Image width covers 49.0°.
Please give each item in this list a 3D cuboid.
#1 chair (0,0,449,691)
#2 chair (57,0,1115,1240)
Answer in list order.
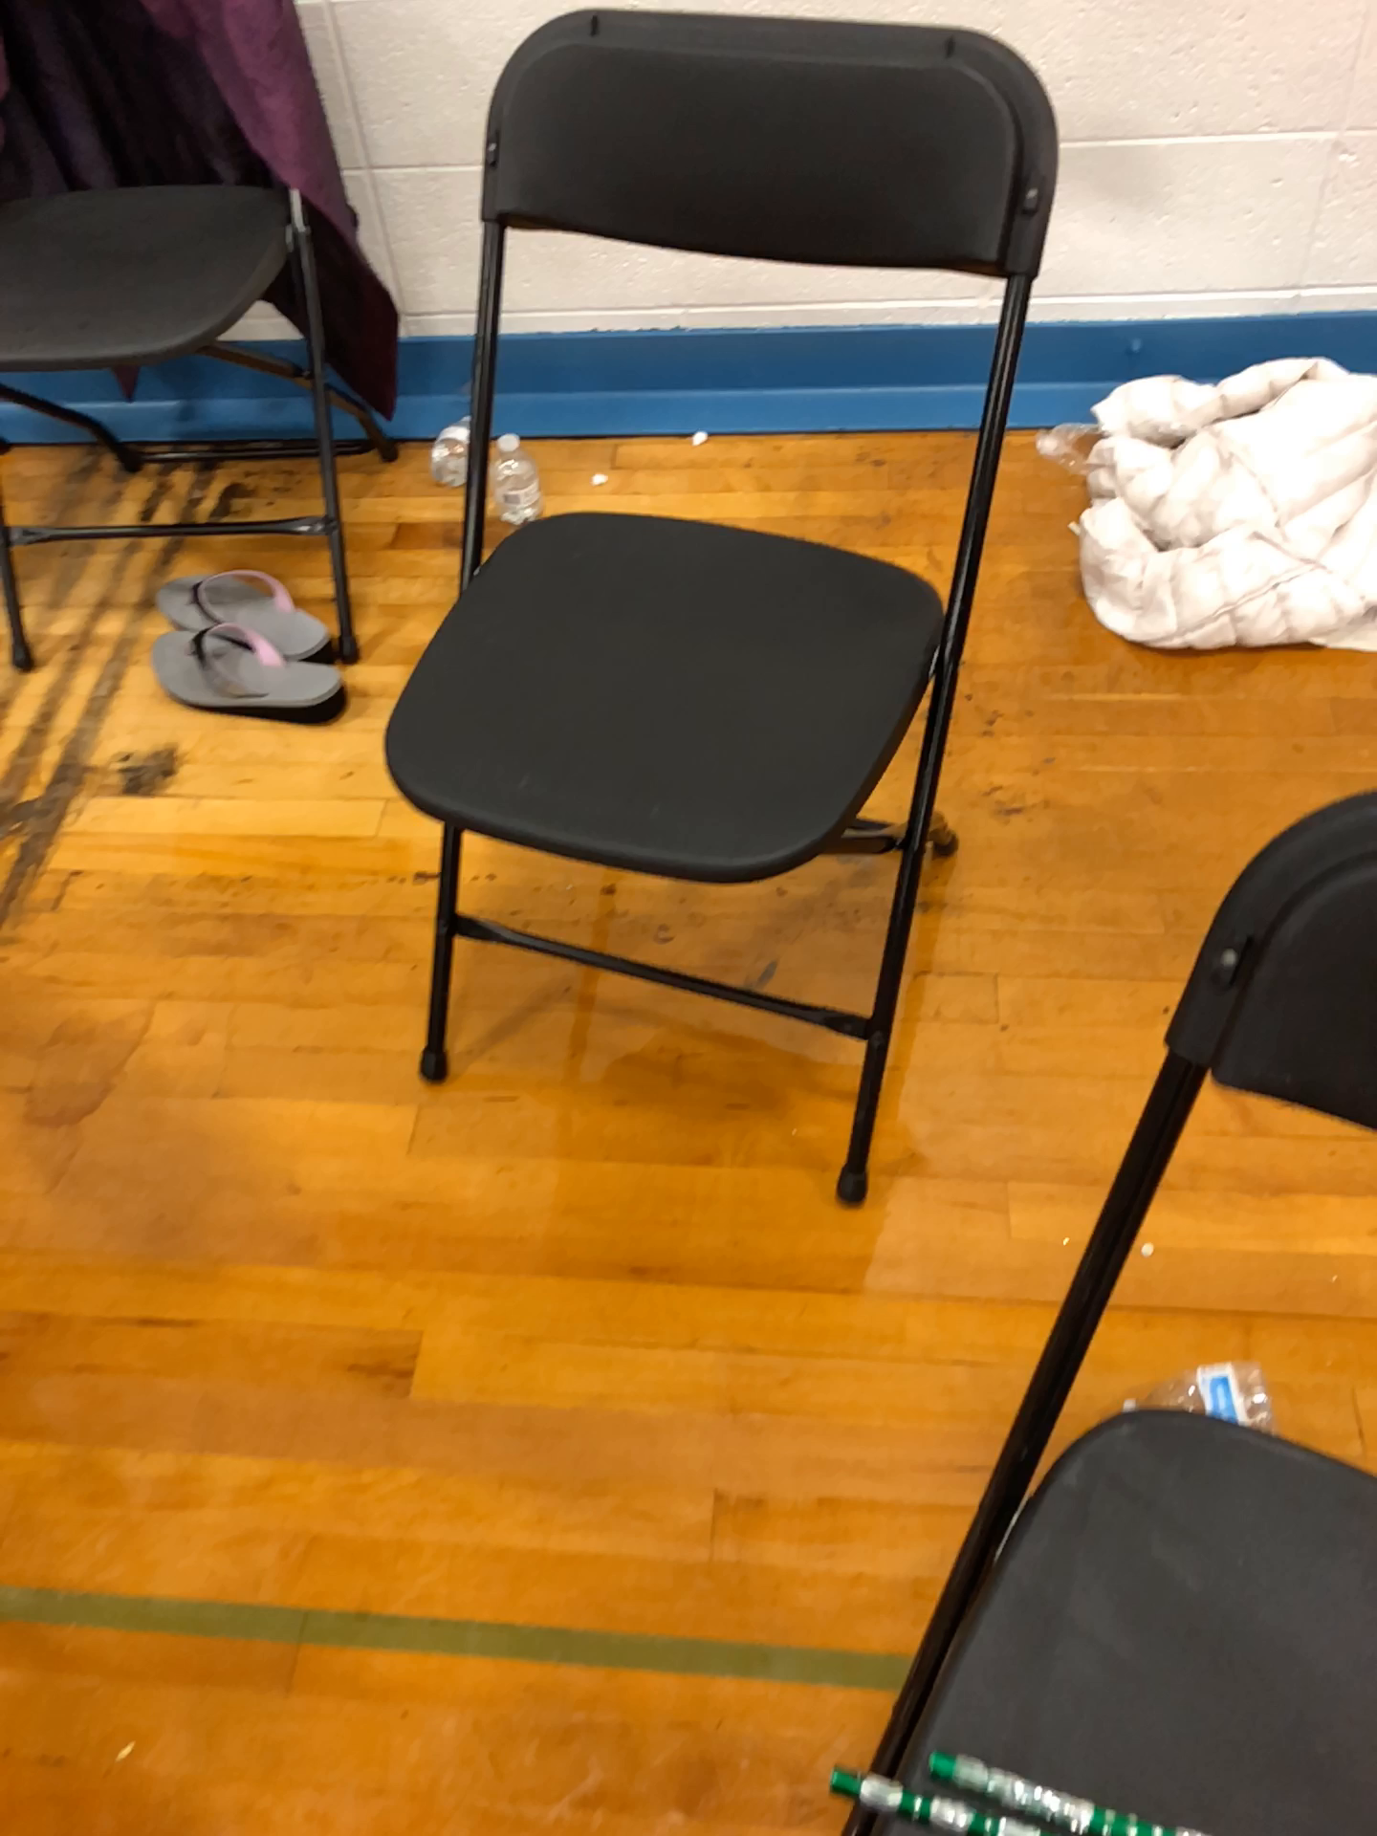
[{"bbox_3d":[-0.631,-0.737,1.685,0.481,0.789,0.546,1,49,7],"label":"chair"},{"bbox_3d":[-0.001,-0.215,1.176,0.471,0.719,0.526,13,52,16],"label":"chair"}]
